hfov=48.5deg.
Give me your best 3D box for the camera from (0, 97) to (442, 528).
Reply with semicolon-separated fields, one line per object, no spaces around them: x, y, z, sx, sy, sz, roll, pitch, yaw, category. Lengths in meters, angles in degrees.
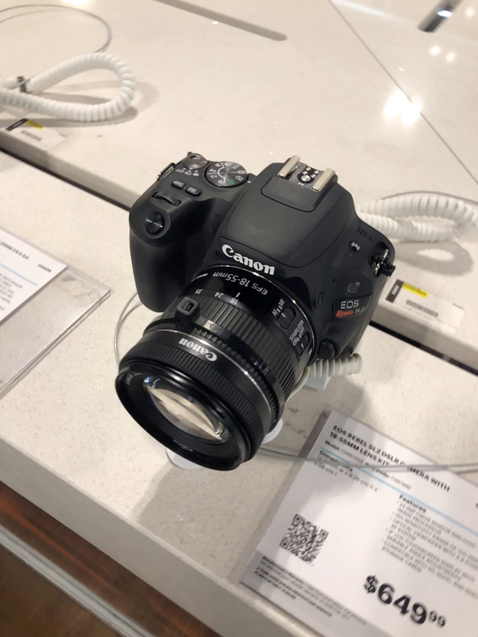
-0.004;-0.016;0.243;0.130;0.070;0.151;27;55;16;camera
